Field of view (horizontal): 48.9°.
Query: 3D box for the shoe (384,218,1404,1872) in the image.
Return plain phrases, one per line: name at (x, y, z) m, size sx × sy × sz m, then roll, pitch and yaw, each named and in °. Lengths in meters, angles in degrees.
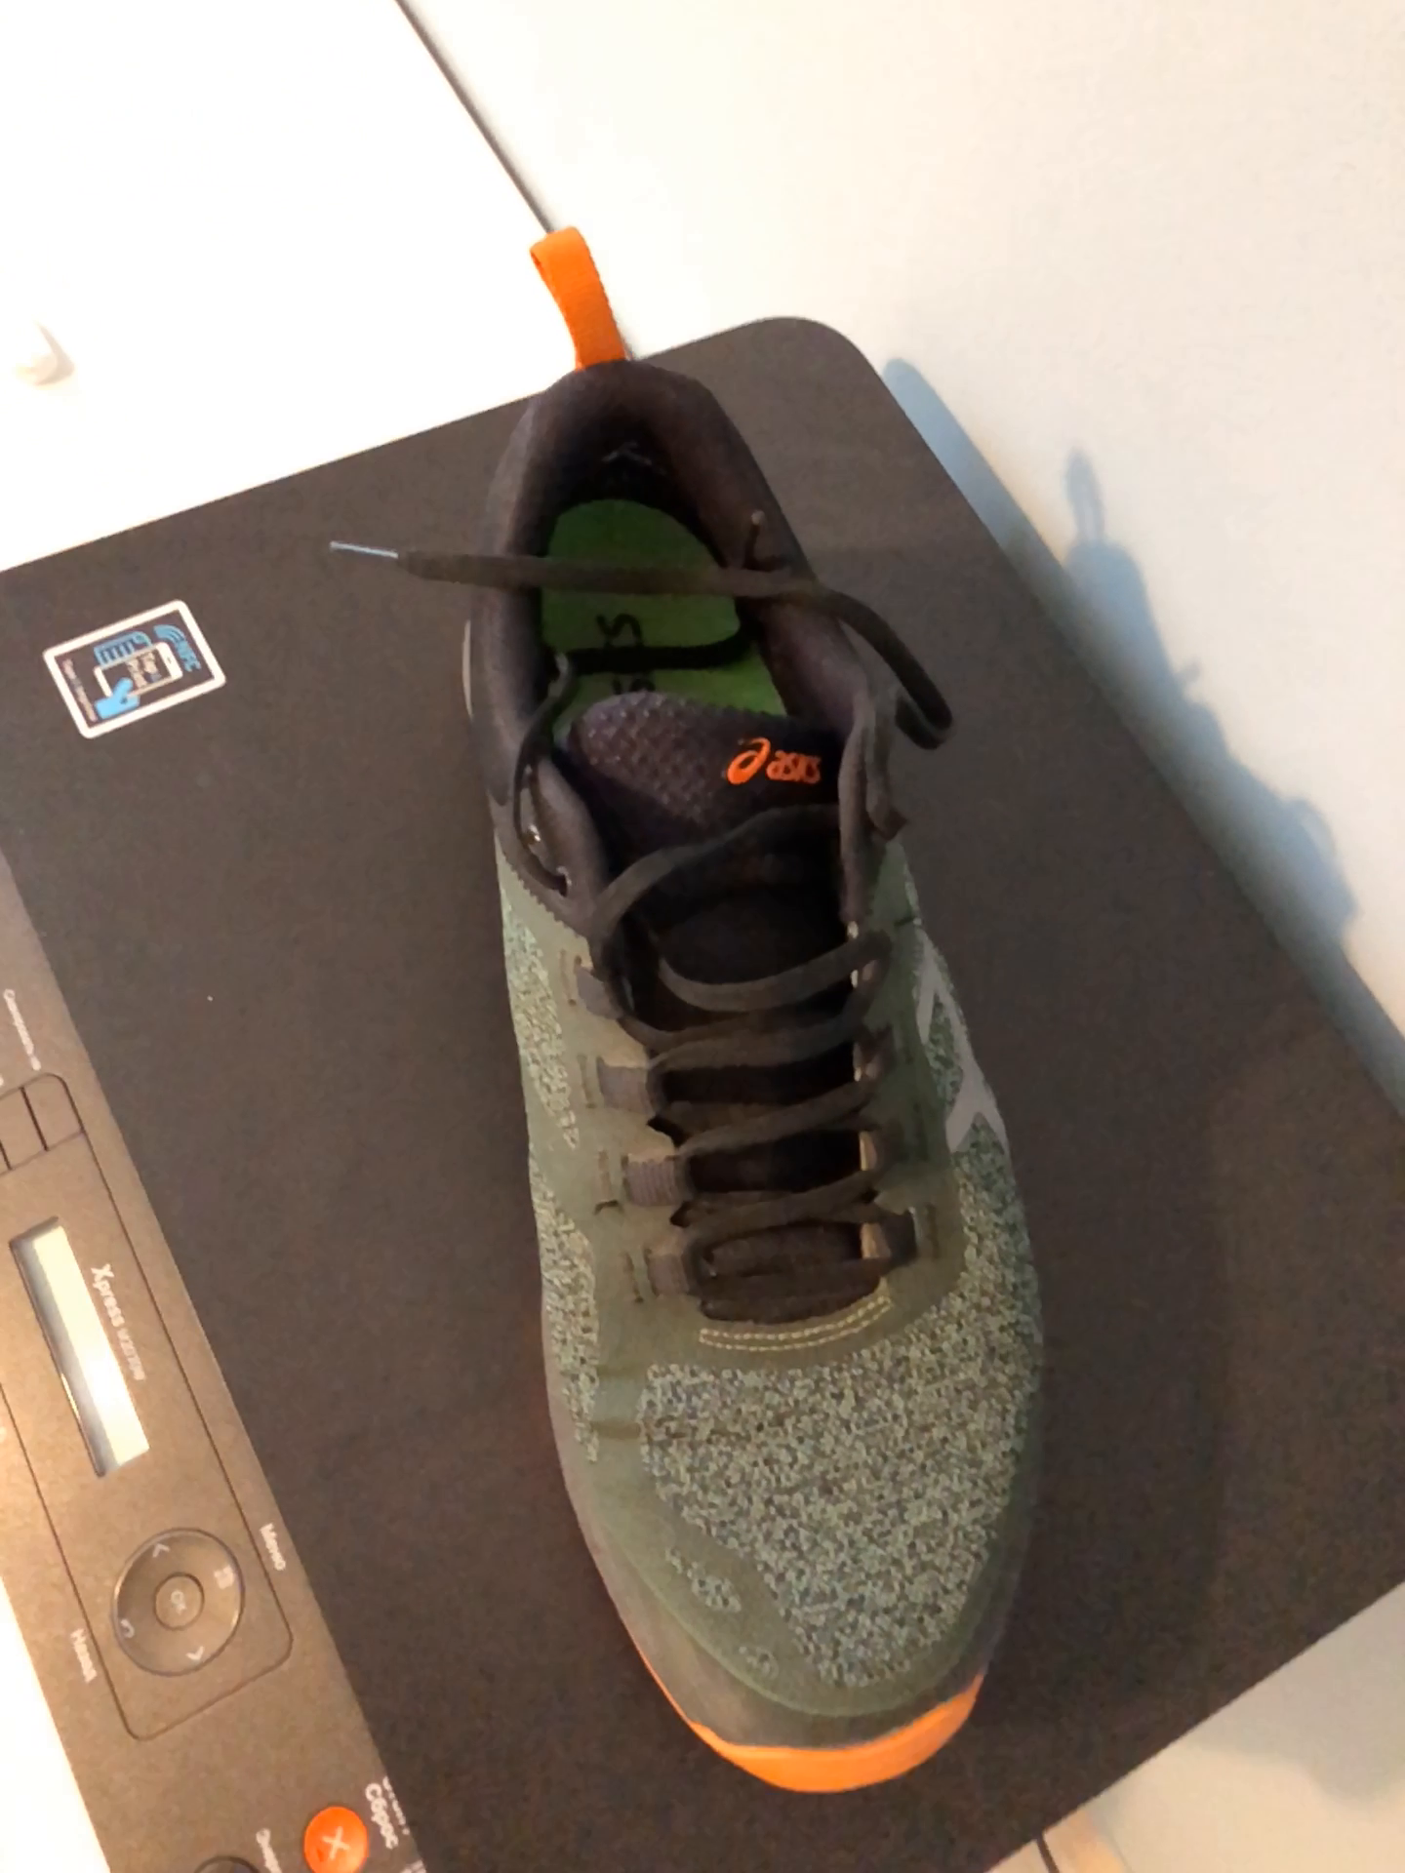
shoe at (0.013, 0.012, 0.329) m, size 0.120 × 0.120 × 0.311 m, roll -7°, pitch 68°, yaw -10°
